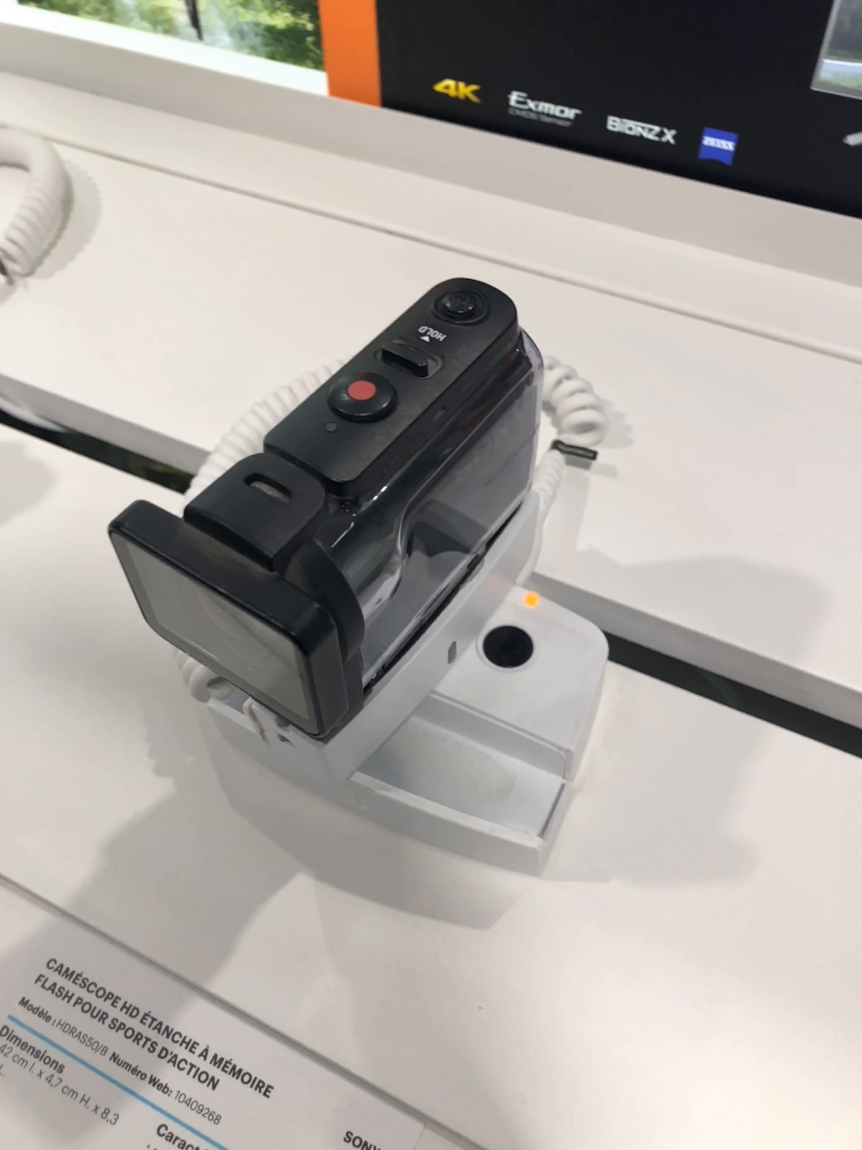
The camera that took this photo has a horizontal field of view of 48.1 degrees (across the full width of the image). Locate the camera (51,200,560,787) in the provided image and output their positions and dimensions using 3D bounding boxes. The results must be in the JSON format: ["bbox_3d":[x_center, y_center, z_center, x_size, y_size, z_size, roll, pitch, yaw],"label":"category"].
[{"bbox_3d":[-0.016,-0.015,0.193,0.045,0.064,0.087,27,68,21],"label":"camera"}]
